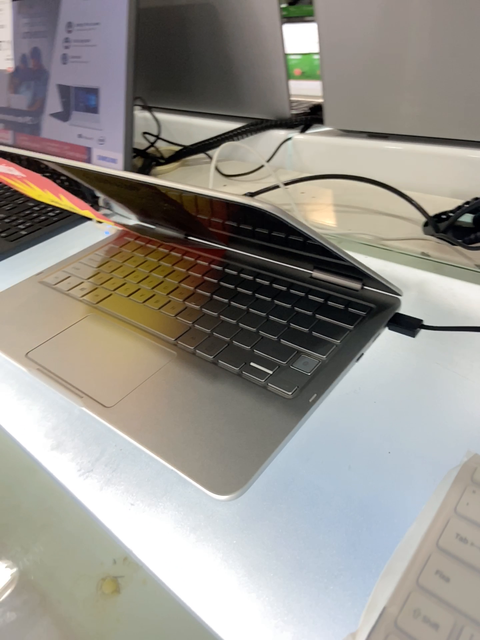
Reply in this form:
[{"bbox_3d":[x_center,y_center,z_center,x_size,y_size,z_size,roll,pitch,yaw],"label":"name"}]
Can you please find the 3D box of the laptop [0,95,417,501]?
[{"bbox_3d":[-0.069,-0.061,0.354,0.307,0.132,0.201,21,44,35],"label":"laptop"}]
